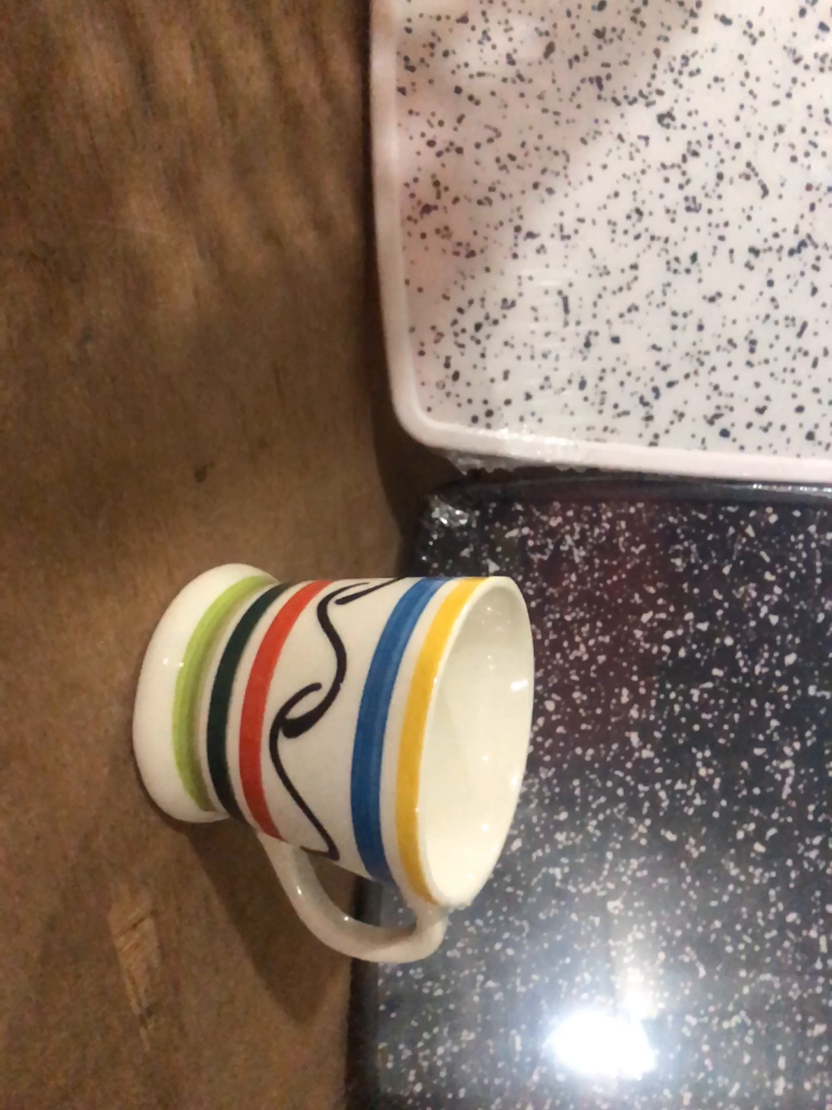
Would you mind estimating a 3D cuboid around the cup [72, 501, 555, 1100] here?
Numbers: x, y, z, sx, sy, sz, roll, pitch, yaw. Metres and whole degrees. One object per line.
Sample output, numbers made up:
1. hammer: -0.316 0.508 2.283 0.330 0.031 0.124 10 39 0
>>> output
1. cup: -0.017 0.047 0.209 0.060 0.079 0.100 -36 128 -59
